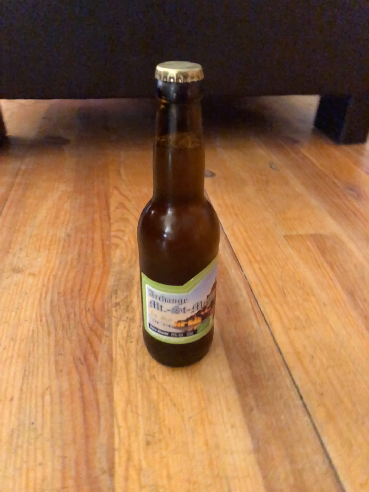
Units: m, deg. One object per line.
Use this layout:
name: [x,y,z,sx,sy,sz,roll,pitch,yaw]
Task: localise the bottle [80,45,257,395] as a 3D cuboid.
bottle: [-0.012,-0.010,0.290,0.070,0.229,0.070,1,33,-1]
